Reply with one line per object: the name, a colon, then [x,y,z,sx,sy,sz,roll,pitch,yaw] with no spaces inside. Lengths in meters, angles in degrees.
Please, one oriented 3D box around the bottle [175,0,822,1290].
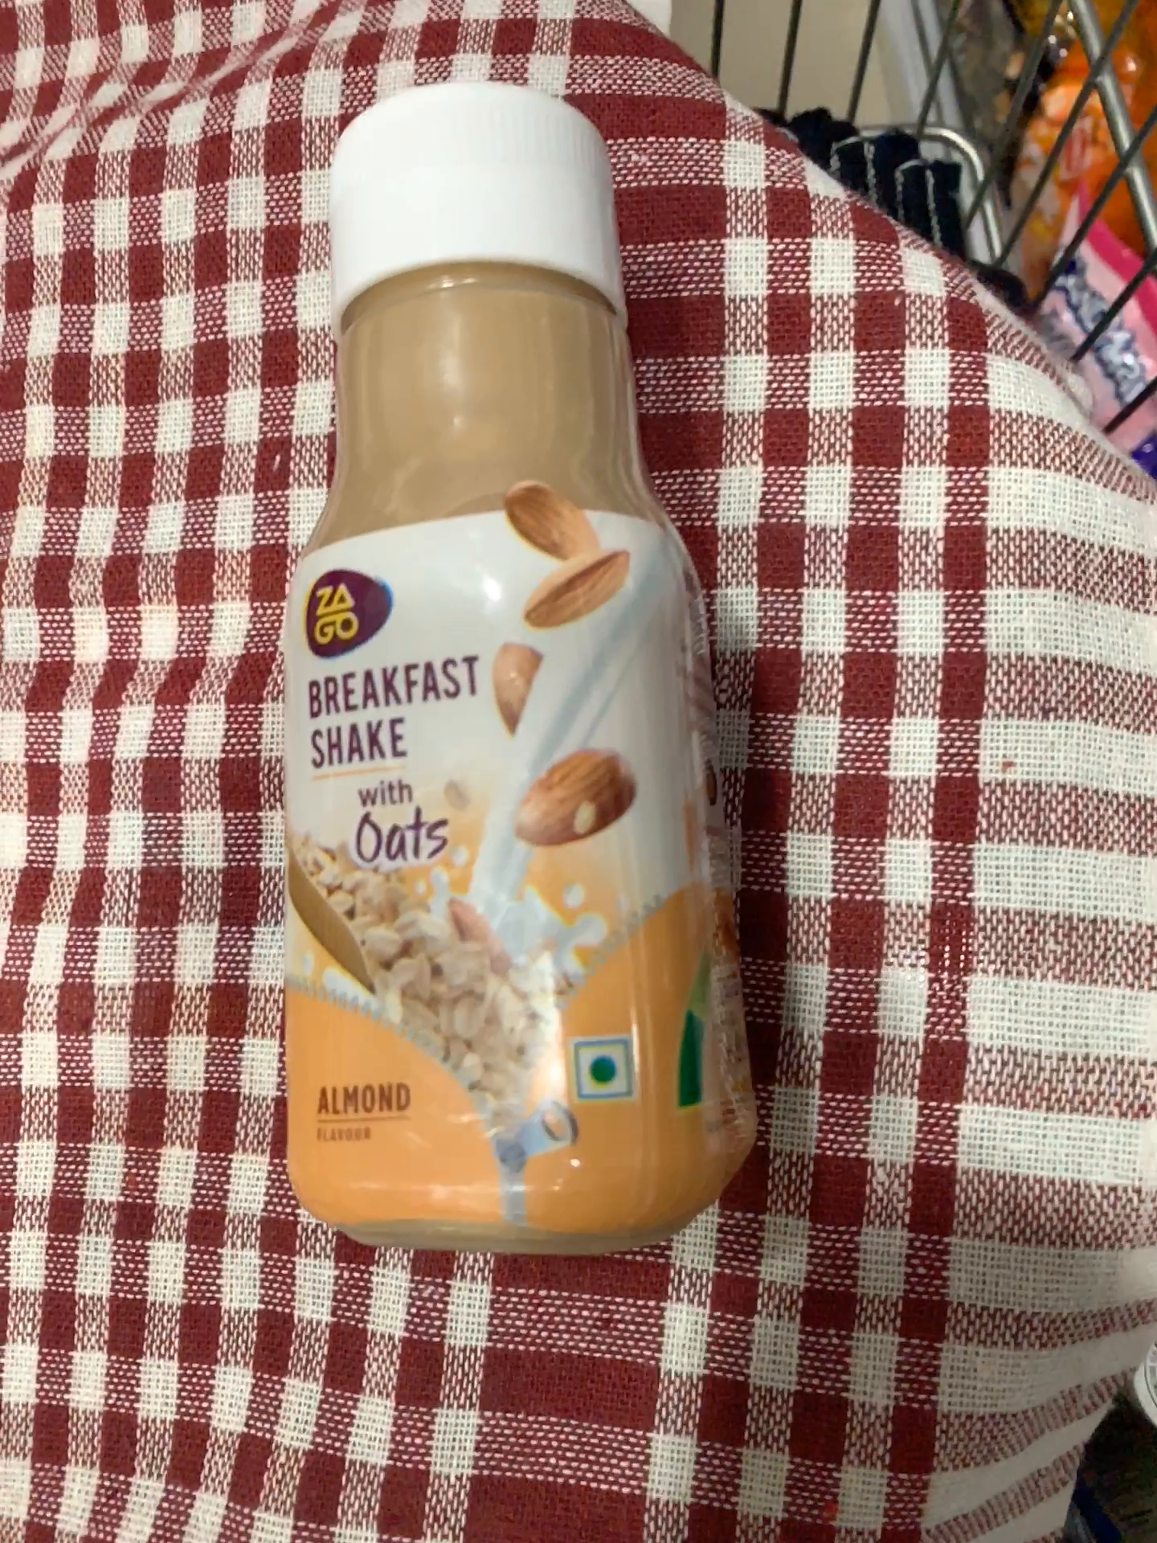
bottle: [-0.005,-0.015,0.152,0.060,0.050,0.140,-4,90,10]
